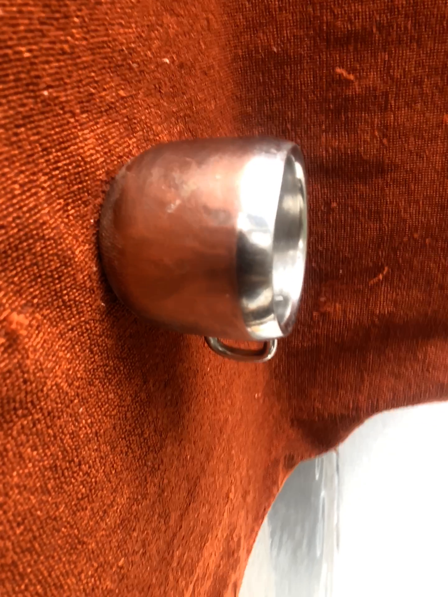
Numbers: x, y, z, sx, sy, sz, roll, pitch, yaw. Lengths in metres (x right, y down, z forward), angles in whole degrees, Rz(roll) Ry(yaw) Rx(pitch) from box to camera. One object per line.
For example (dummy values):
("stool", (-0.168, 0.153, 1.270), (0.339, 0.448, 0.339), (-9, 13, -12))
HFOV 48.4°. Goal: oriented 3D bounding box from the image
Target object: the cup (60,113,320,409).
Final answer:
("cup", (-0.001, -0.010, 0.185), (0.090, 0.060, 0.060), (71, 30, -51))
